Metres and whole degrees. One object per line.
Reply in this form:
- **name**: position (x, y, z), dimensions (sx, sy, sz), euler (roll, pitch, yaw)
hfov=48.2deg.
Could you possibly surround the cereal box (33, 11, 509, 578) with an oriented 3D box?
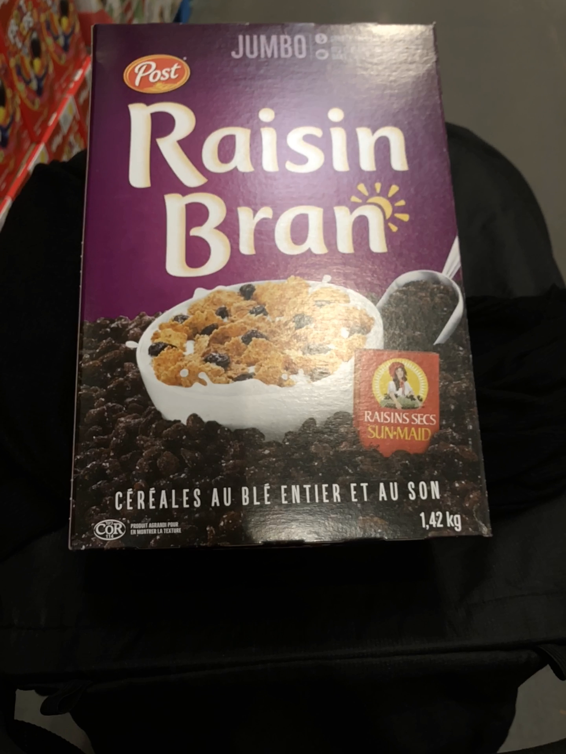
- **cereal box**: position (-0.009, -0.044, 0.365), dimensions (0.210, 0.110, 0.290), euler (-1, 77, -1)
